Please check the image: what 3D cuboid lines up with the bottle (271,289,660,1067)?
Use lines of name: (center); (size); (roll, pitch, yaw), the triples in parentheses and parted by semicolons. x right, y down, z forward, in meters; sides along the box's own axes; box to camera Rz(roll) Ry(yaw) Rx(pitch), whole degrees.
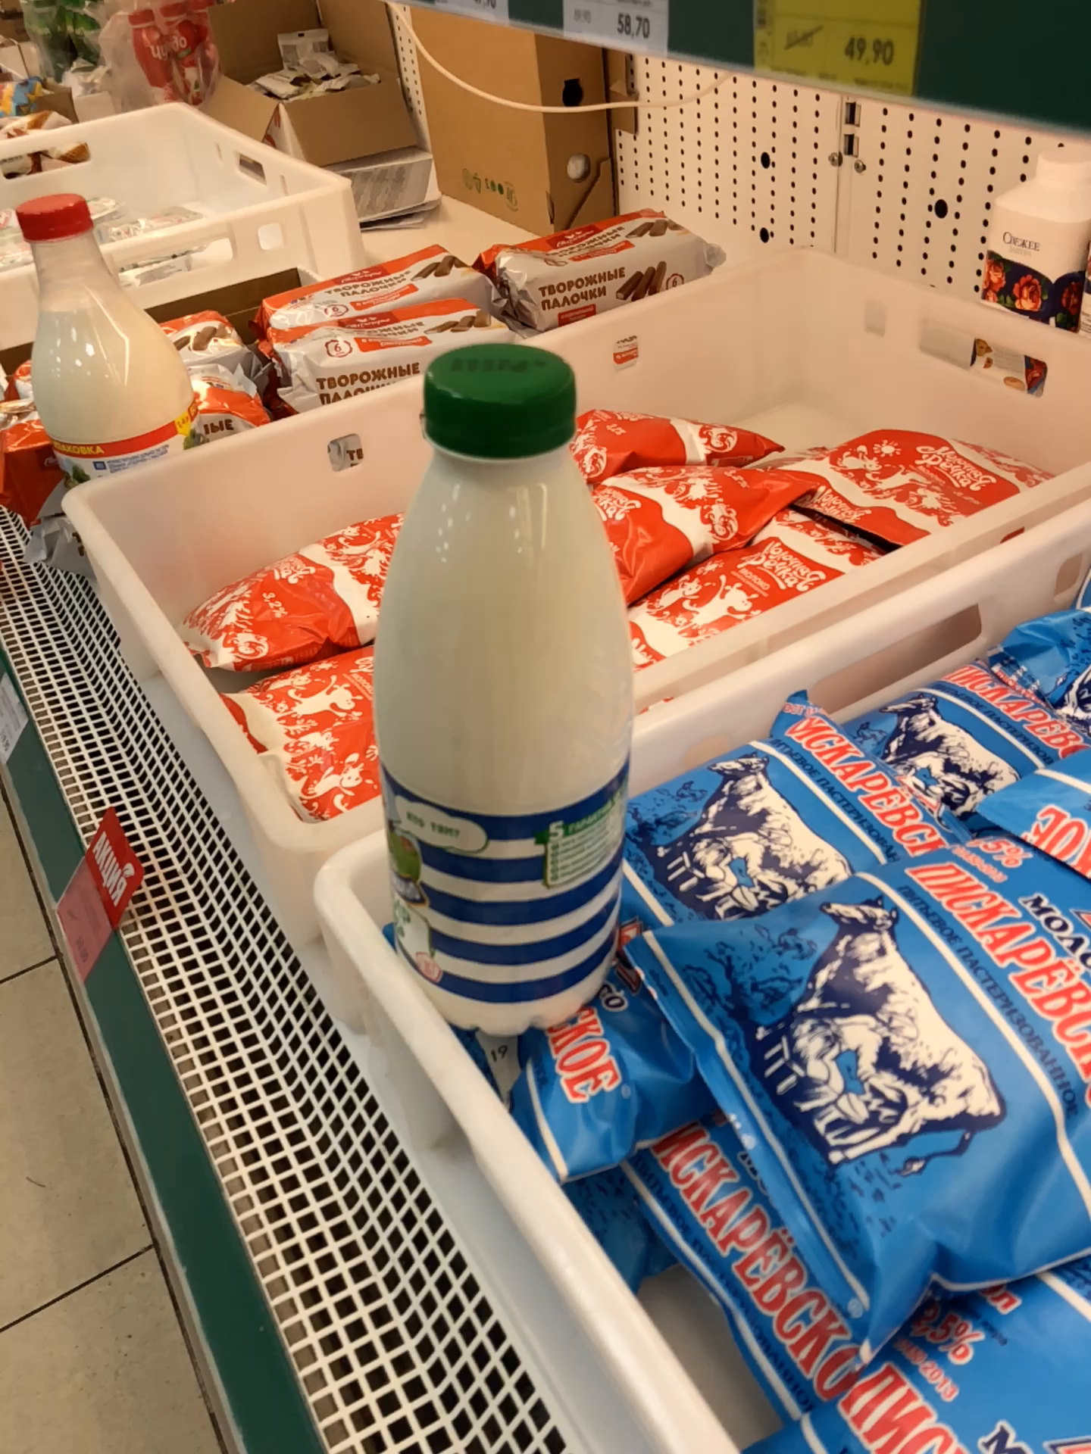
bottle: (-0.021, -0.007, 0.376); (0.080, 0.223, 0.084); (-1, 37, 1)
